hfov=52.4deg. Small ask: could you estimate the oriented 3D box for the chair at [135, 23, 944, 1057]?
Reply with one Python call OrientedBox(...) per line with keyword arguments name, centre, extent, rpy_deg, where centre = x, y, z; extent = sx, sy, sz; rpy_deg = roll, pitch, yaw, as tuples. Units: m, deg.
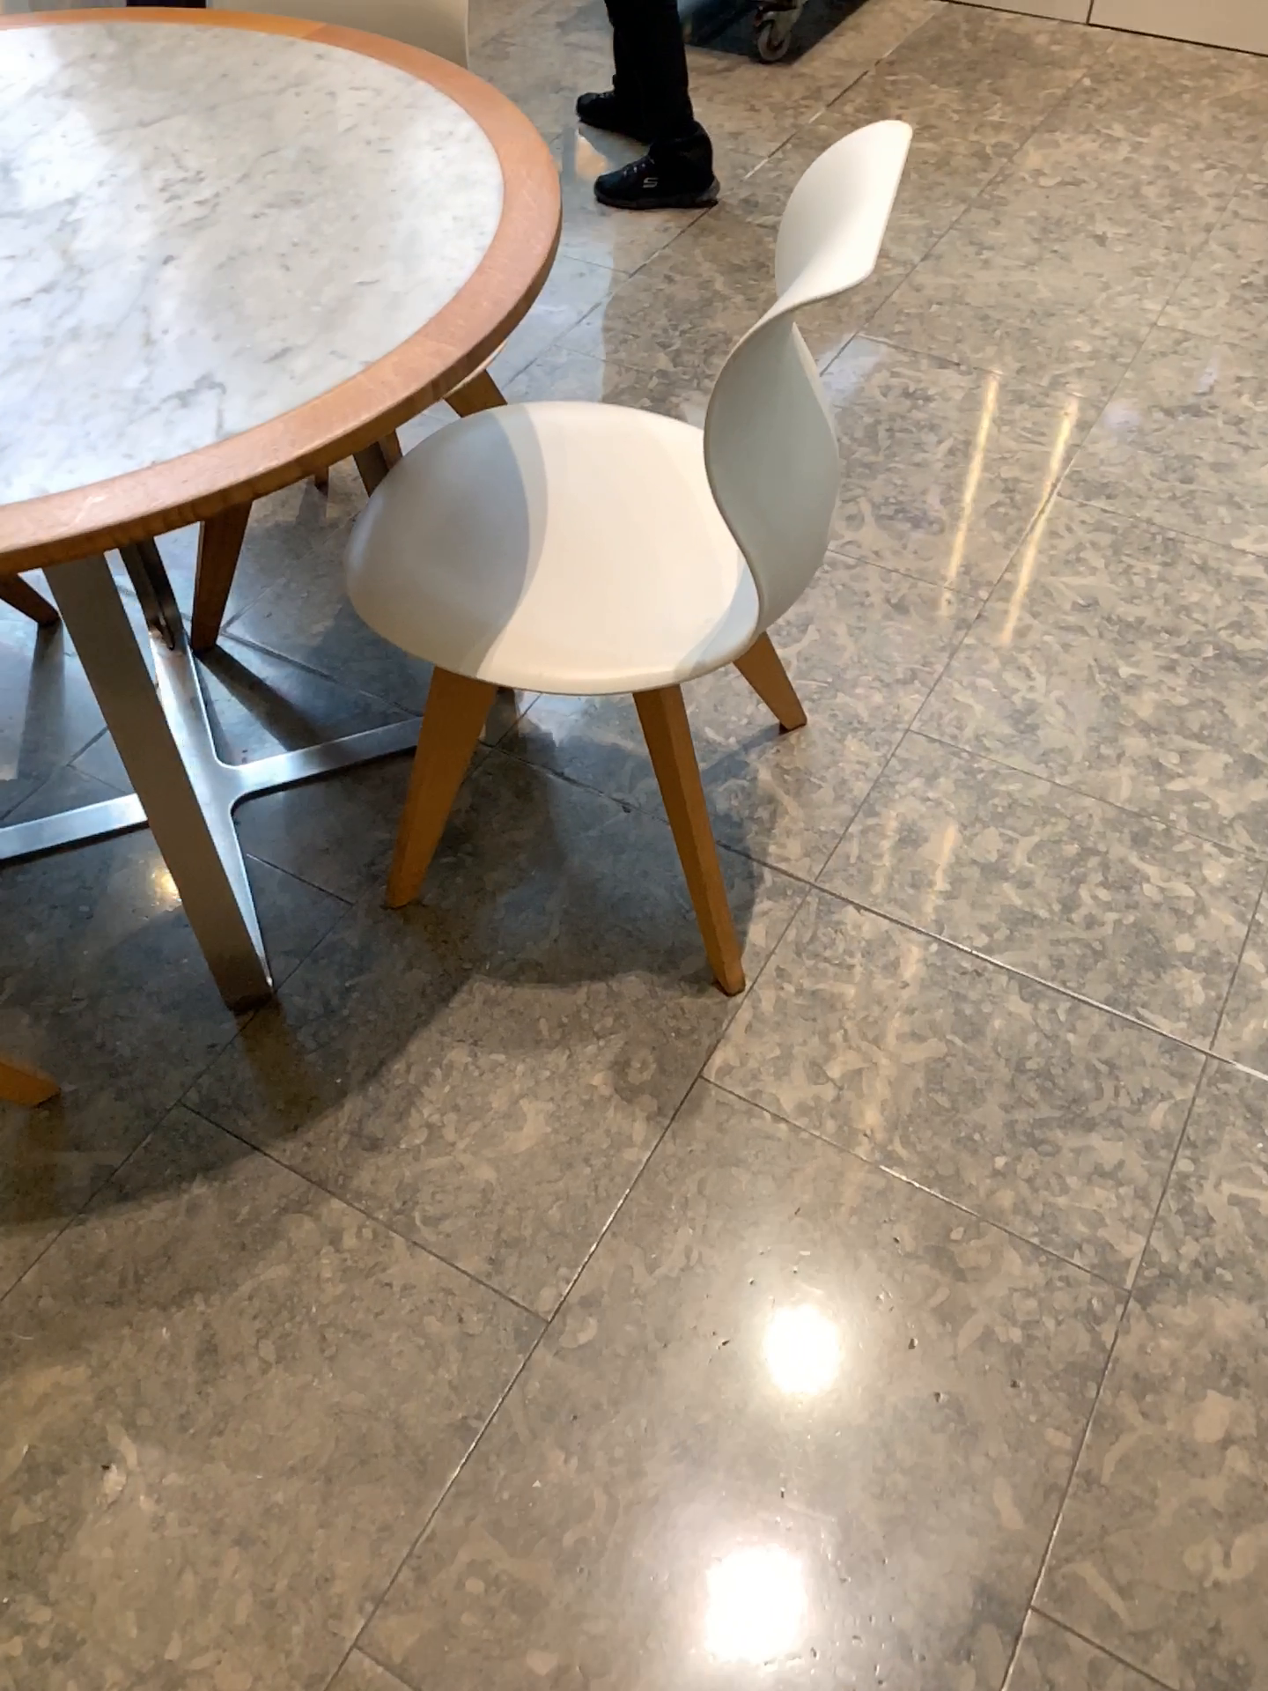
OrientedBox(name="chair", centre=(-0.039, -0.275, 1.412), extent=(0.540, 0.912, 0.504), rpy_deg=(11, 51, 10))
